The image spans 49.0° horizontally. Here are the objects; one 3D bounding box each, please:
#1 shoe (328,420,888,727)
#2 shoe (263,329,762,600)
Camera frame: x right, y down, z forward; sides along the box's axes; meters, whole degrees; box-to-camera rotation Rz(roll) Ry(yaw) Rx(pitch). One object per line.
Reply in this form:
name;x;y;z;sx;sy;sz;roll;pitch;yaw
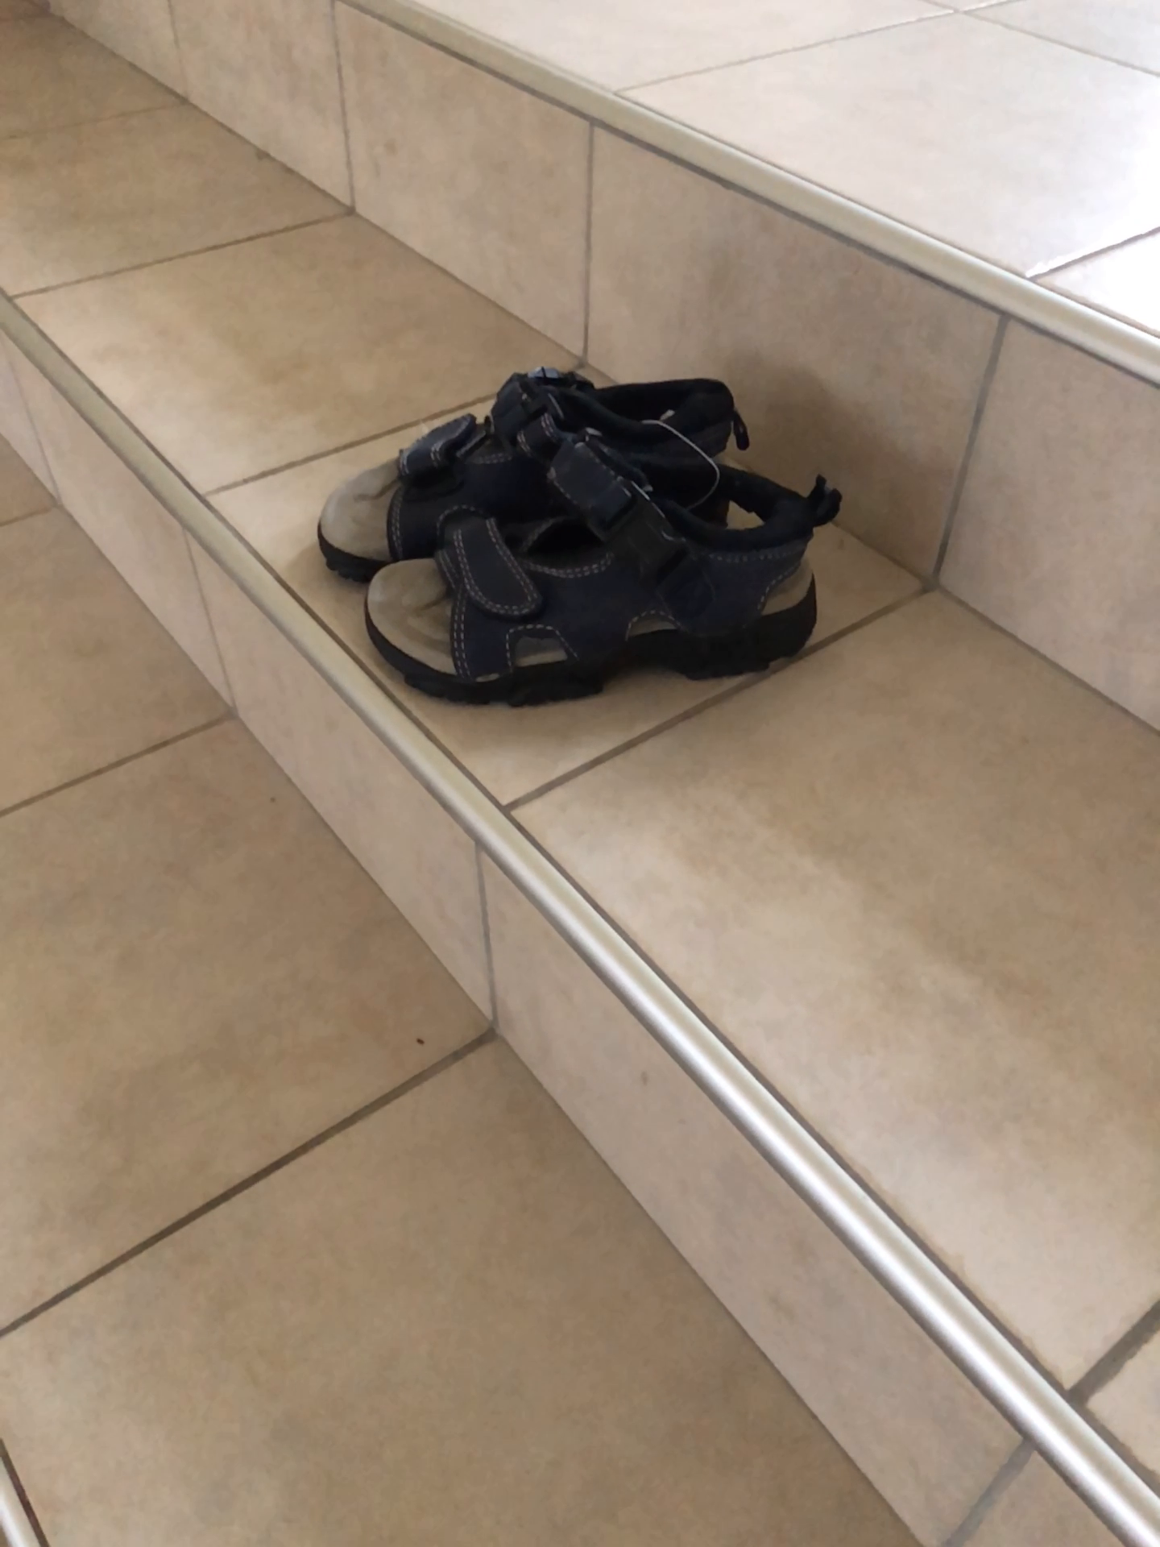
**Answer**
shoe;0.008;-0.094;0.587;0.230;0.089;0.101;-3;44;-4
shoe;-0.034;-0.160;0.654;0.230;0.089;0.101;-3;44;-4
